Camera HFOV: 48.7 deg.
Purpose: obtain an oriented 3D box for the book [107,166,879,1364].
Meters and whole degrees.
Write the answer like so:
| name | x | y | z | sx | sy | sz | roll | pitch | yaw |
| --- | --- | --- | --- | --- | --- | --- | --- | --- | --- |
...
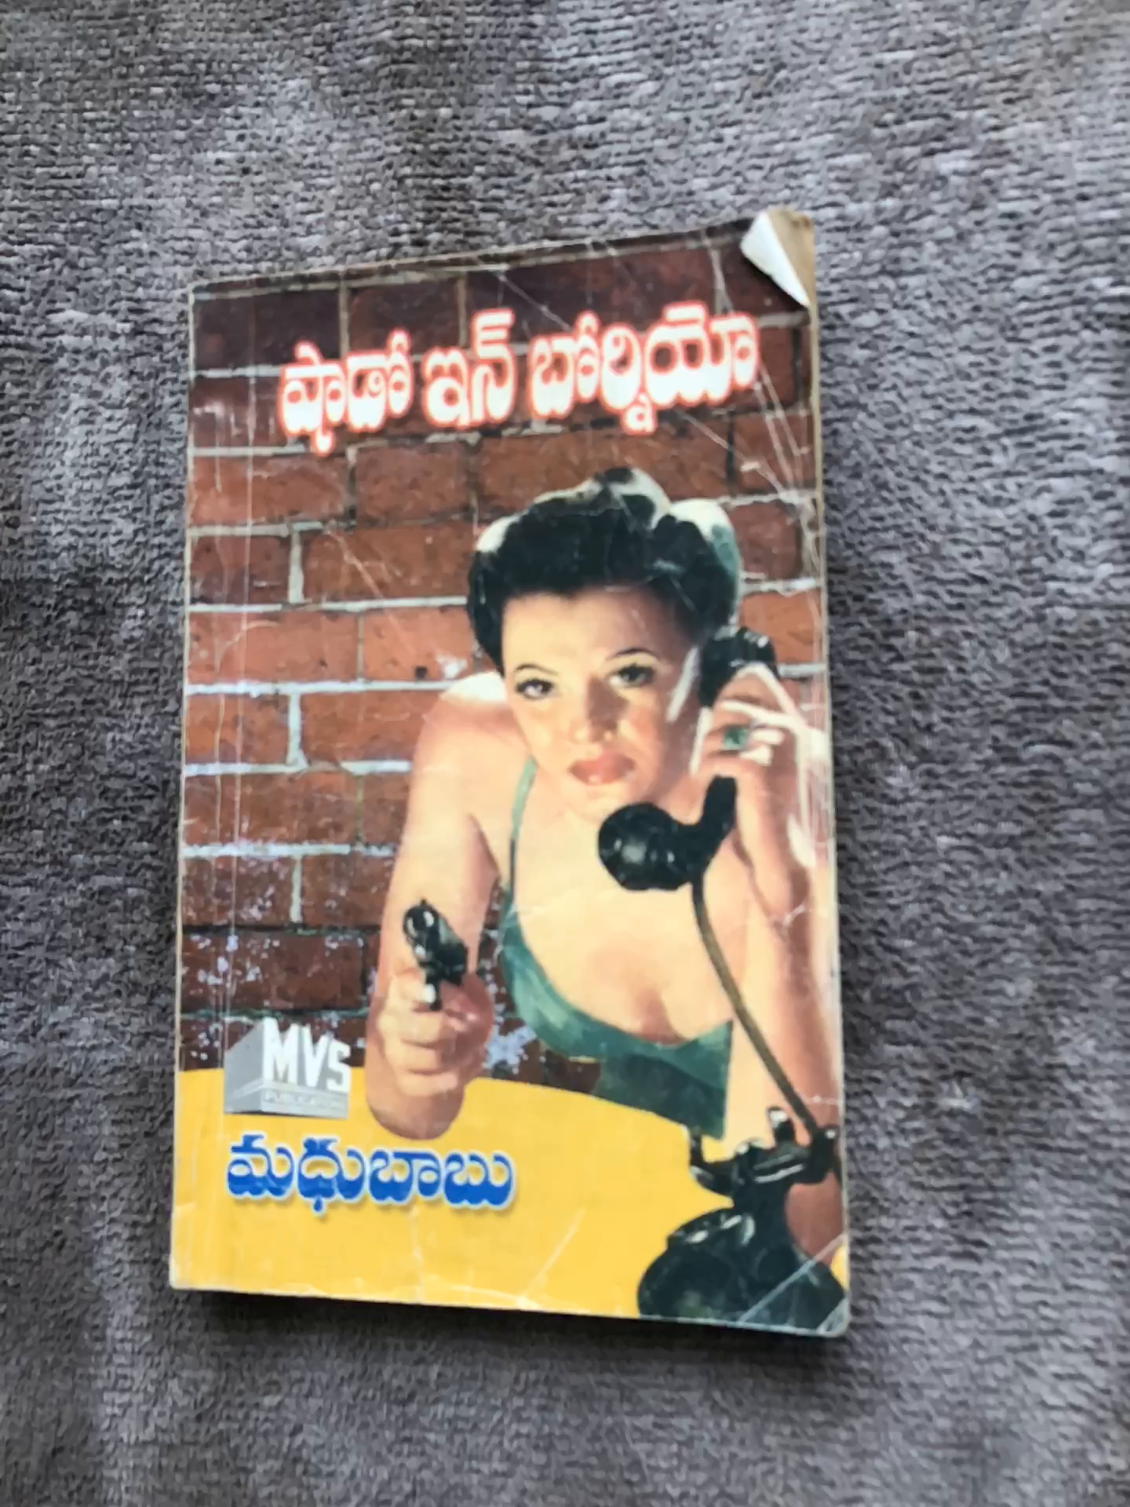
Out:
| name | x | y | z | sx | sy | sz | roll | pitch | yaw |
| --- | --- | --- | --- | --- | --- | --- | --- | --- | --- |
| book | -0.008 | 0.001 | 0.184 | 0.100 | 0.040 | 0.150 | -1 | 85 | 9 |
